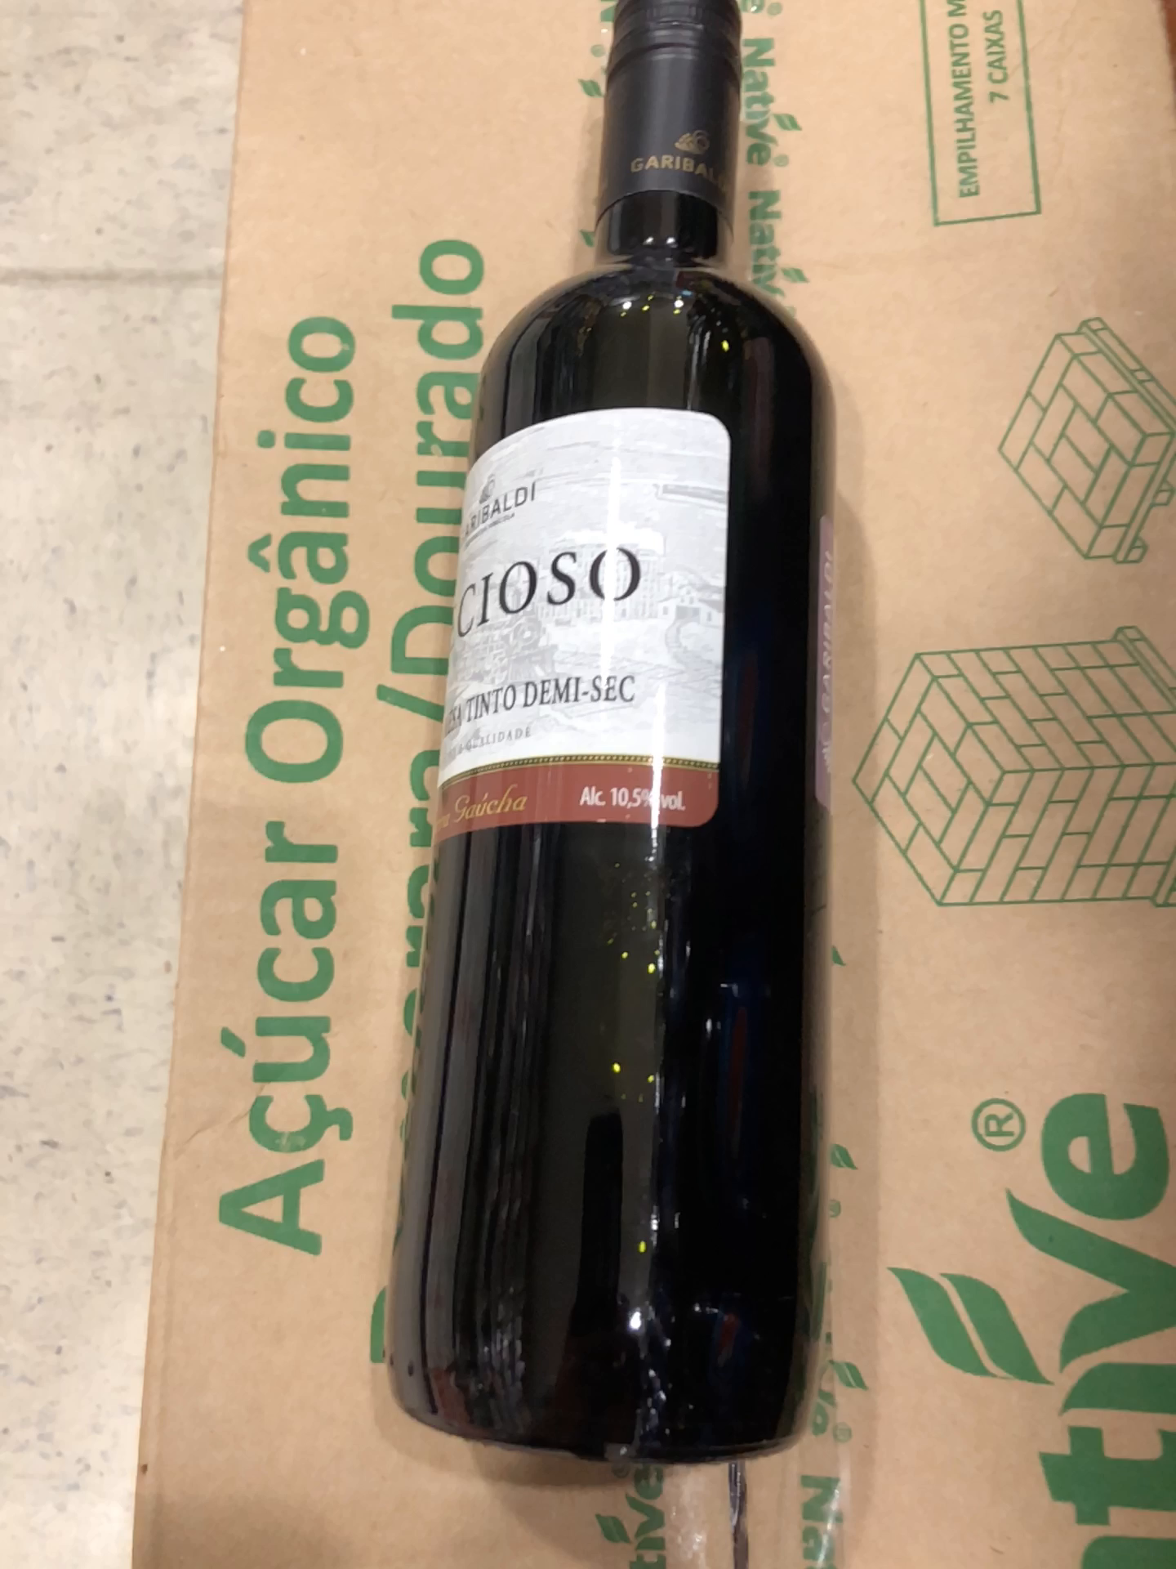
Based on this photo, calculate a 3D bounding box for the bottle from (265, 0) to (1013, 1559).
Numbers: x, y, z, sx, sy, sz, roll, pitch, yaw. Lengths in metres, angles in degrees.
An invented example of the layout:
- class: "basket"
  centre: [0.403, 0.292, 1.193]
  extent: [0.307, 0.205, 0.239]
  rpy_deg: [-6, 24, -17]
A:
- class: "bottle"
  centre: [0.016, -0.062, 0.244]
  extent: [0.090, 0.080, 0.341]
  rpy_deg: [4, 73, 0]
